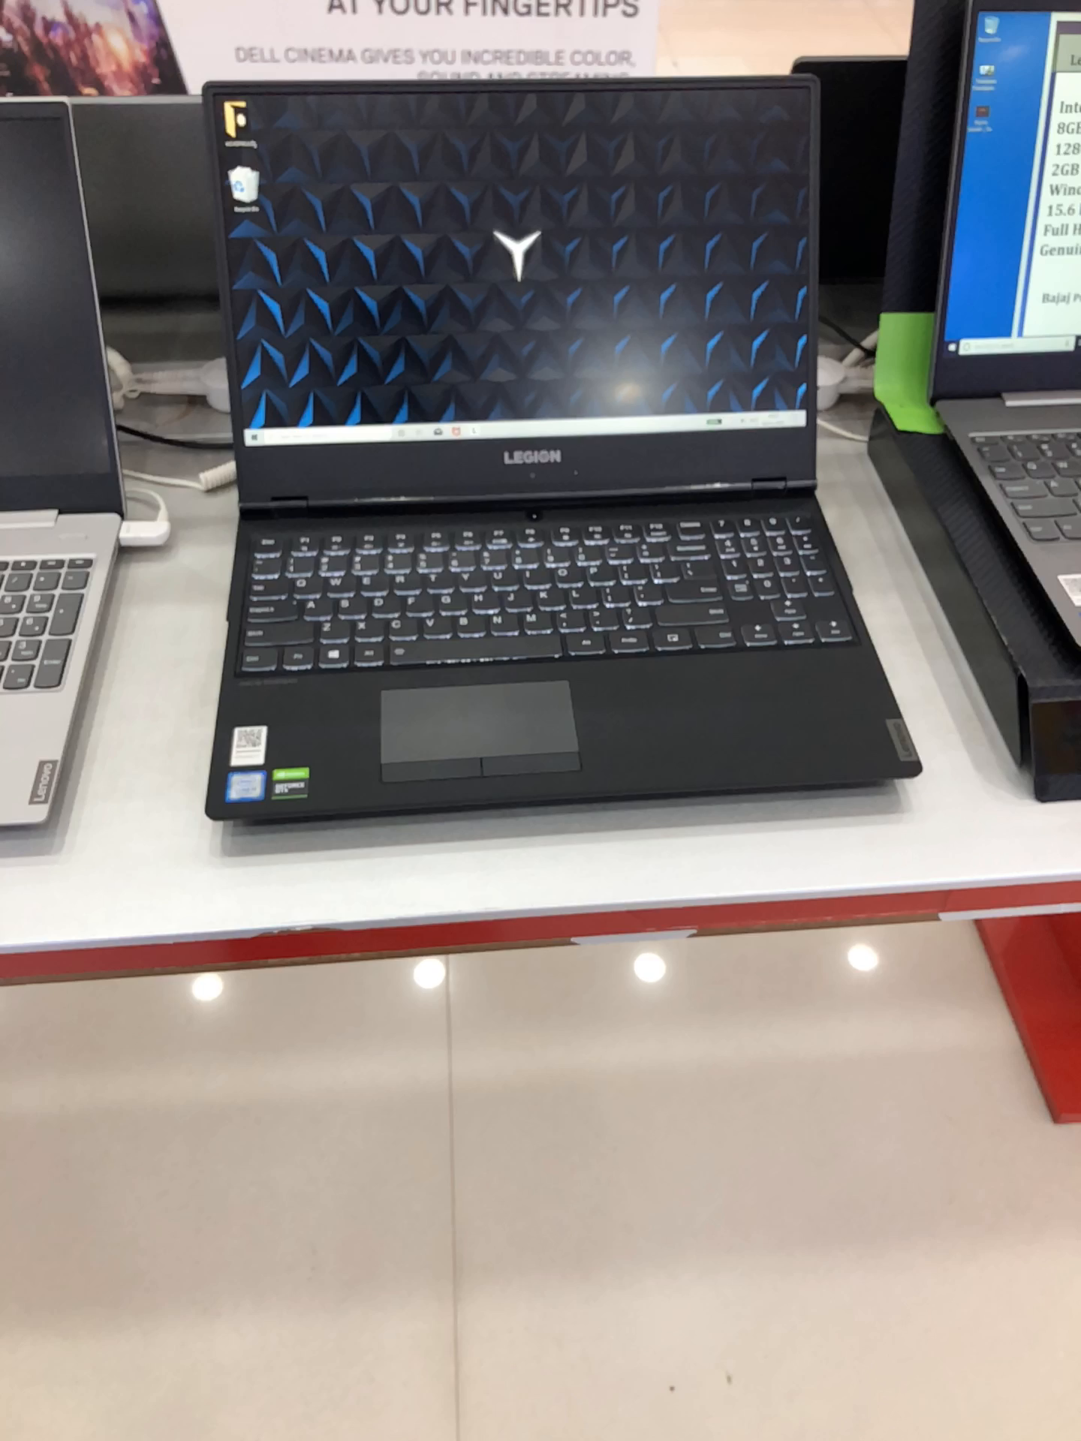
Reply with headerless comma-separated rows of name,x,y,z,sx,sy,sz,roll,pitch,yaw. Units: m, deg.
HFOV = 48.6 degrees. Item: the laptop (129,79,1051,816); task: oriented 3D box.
laptop,0.004,-0.160,0.615,0.334,0.191,0.349,-3,48,-5
